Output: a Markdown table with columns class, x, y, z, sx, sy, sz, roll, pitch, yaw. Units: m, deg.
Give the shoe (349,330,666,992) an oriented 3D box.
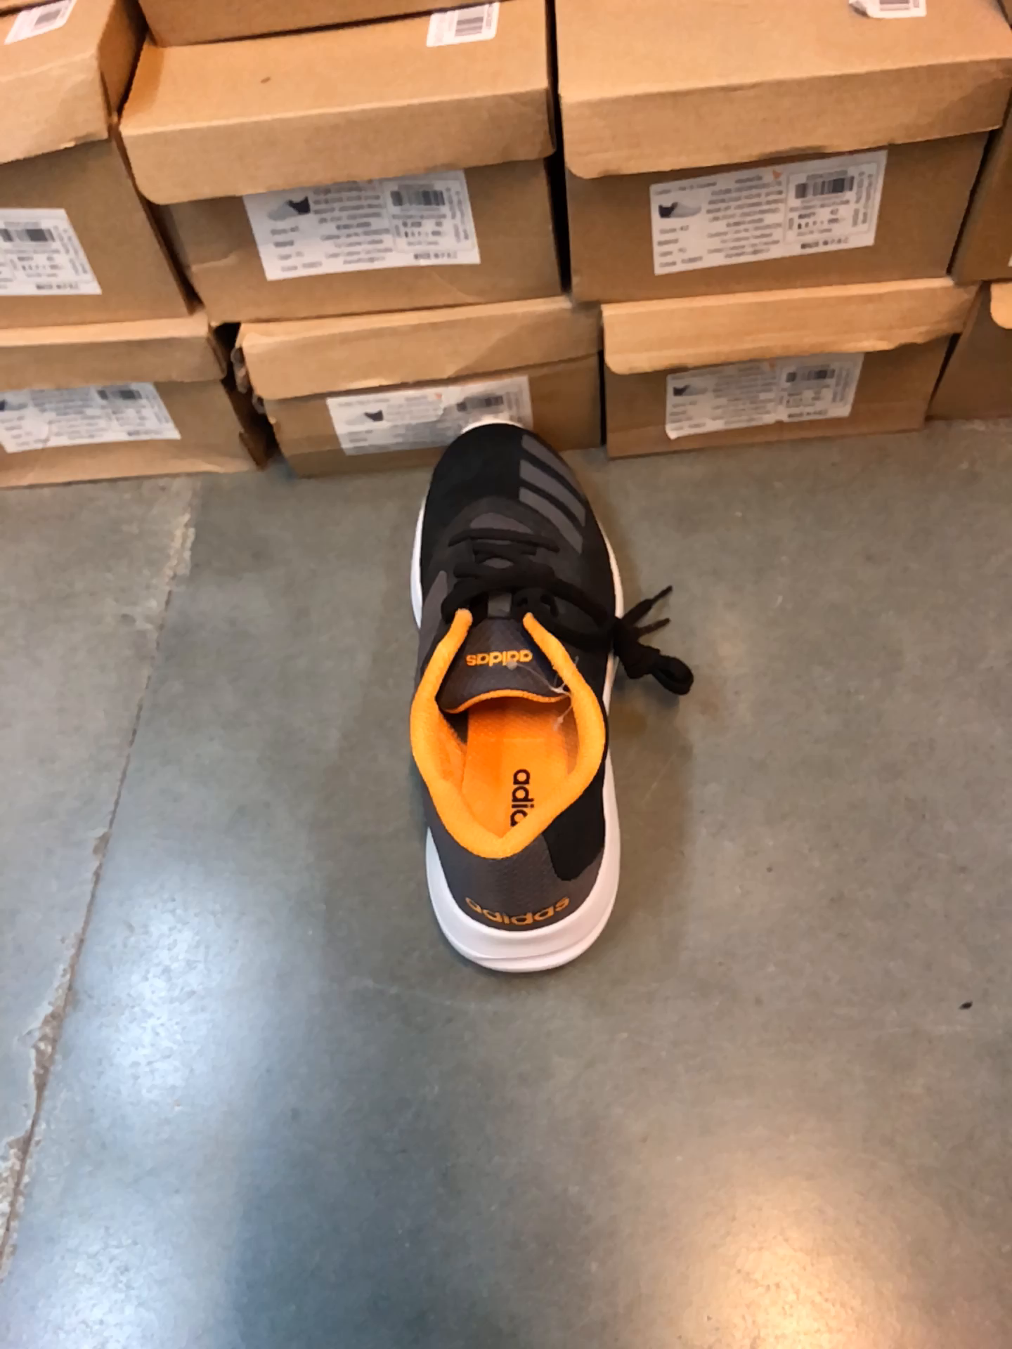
| class | x | y | z | sx | sy | sz | roll | pitch | yaw |
| --- | --- | --- | --- | --- | --- | --- | --- | --- | --- |
| shoe | 0.003 | -0.010 | 0.504 | 0.110 | 0.117 | 0.272 | -3 | 60 | 4 |
